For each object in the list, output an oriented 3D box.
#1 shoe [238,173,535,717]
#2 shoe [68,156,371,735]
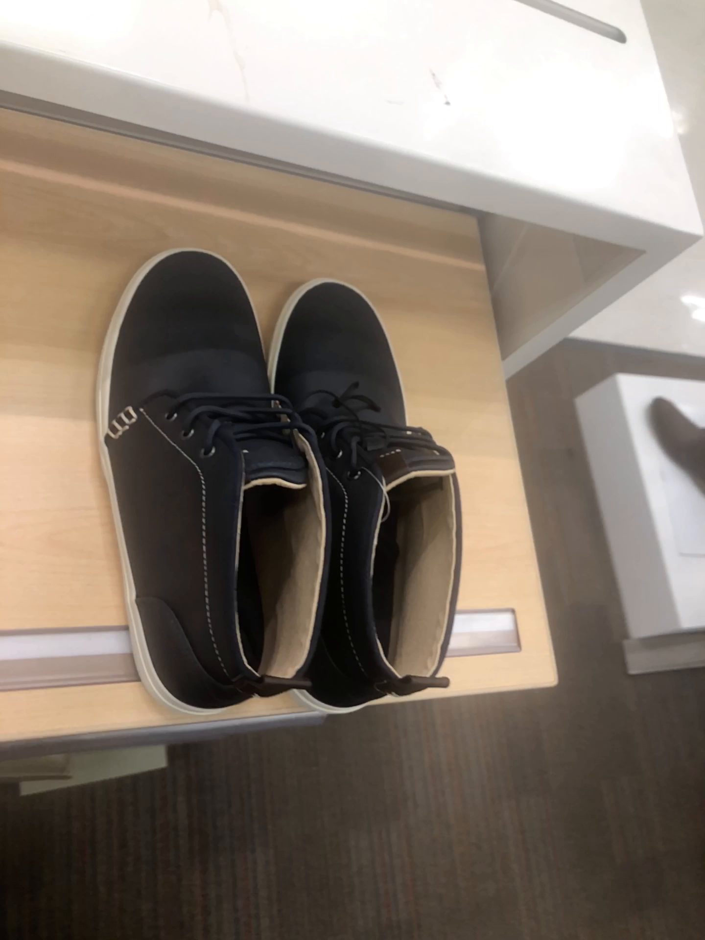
[{"bbox_3d":[0.006,-0.005,0.444,0.106,0.124,0.267,6,70,-25],"label":"shoe"},{"bbox_3d":[-0.080,-0.006,0.407,0.109,0.114,0.258,1,72,-27],"label":"shoe"}]
